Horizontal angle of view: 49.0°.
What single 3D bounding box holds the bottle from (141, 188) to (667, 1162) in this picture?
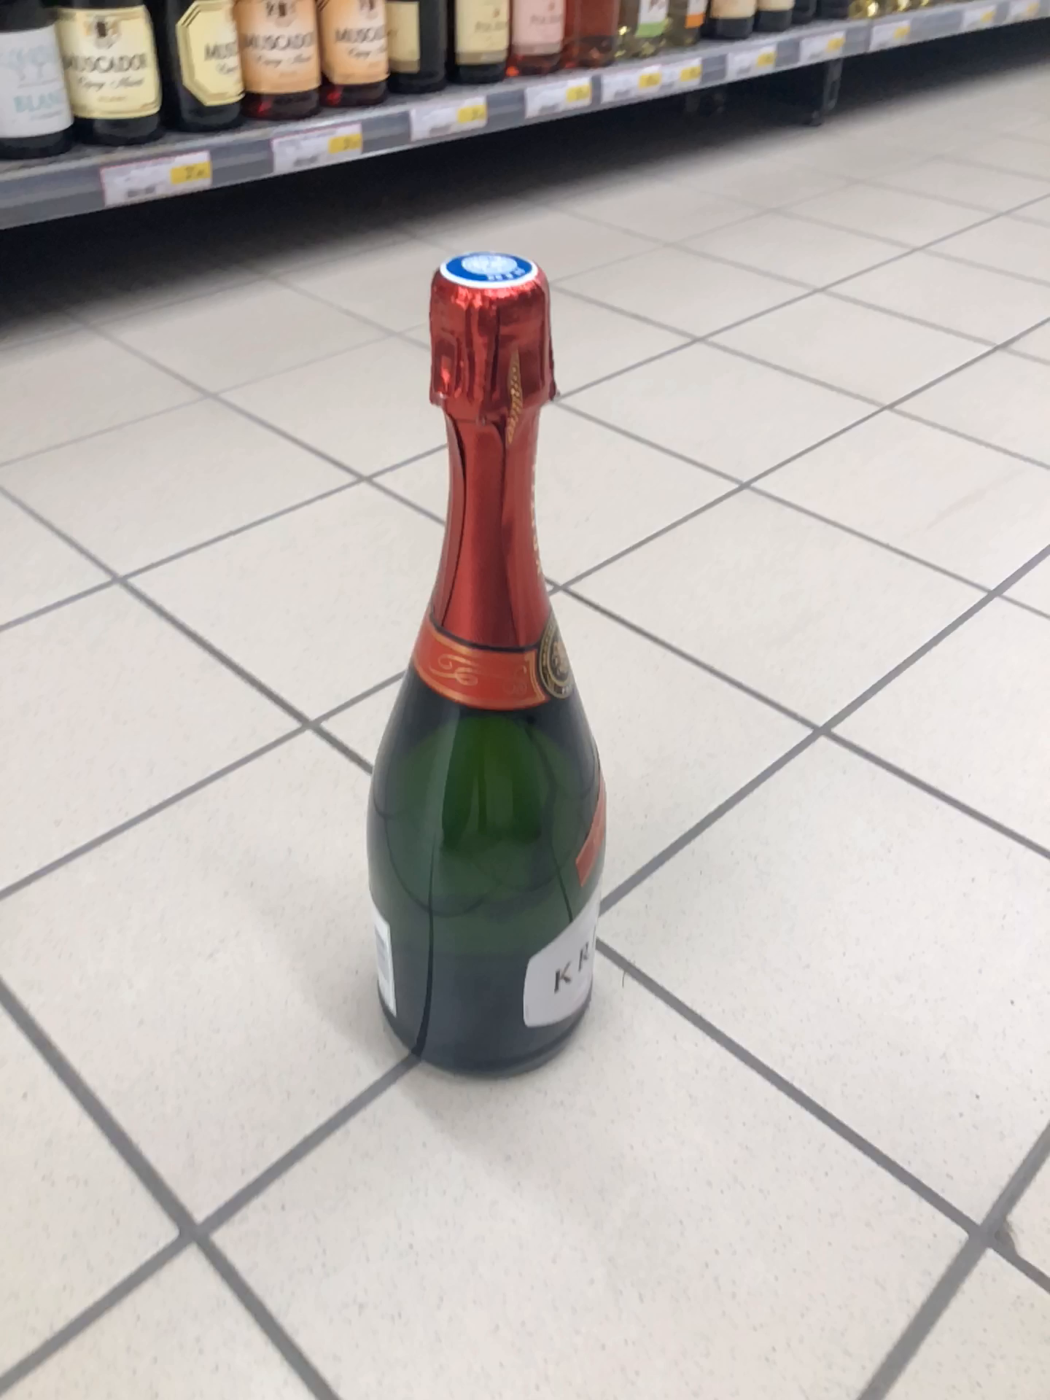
[{"bbox_3d":[-0.028,0.009,0.376,0.100,0.298,0.101,1,37,-1],"label":"bottle"}]
